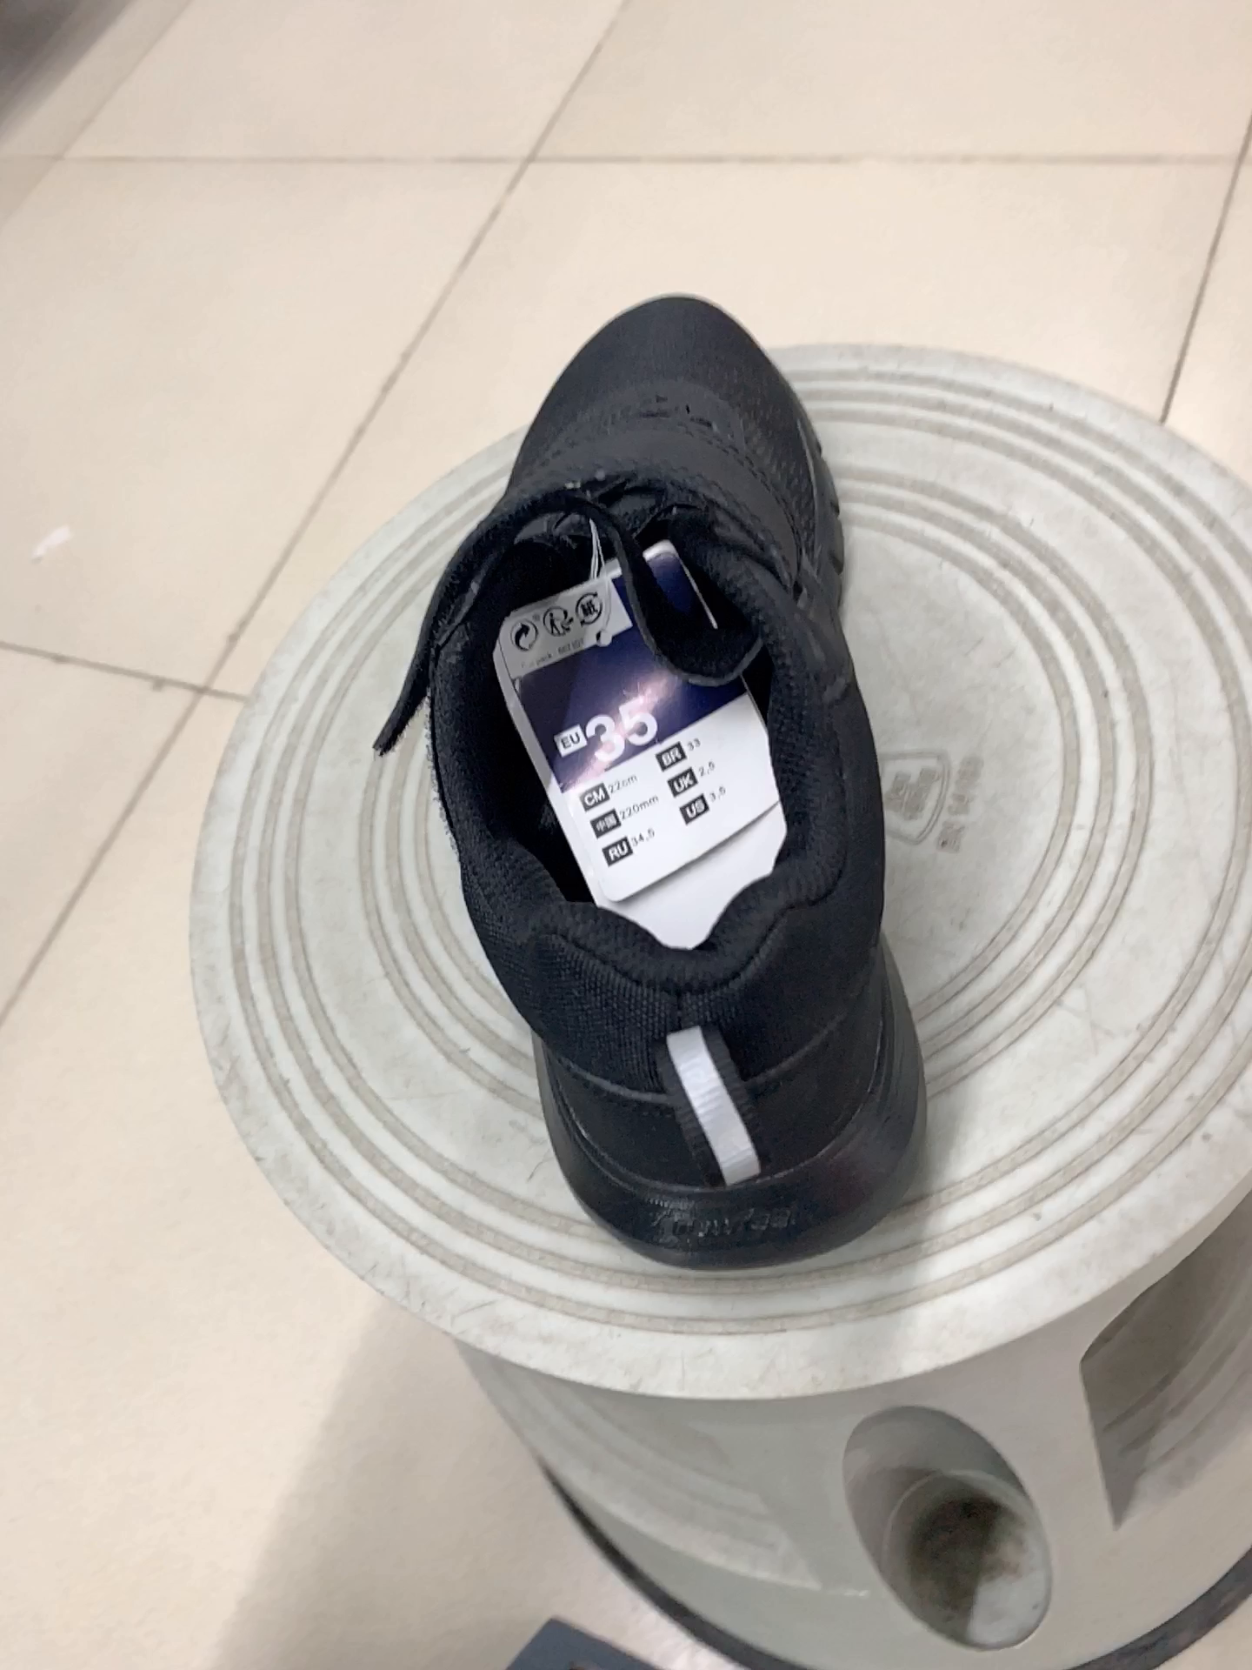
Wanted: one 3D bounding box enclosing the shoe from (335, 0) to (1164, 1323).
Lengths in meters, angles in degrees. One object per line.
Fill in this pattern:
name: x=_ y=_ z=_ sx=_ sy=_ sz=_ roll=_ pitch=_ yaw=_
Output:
shoe: x=0.007 y=-0.050 z=0.254 sx=0.100 sy=0.080 sz=0.250 roll=-14 pitch=58 yaw=9
